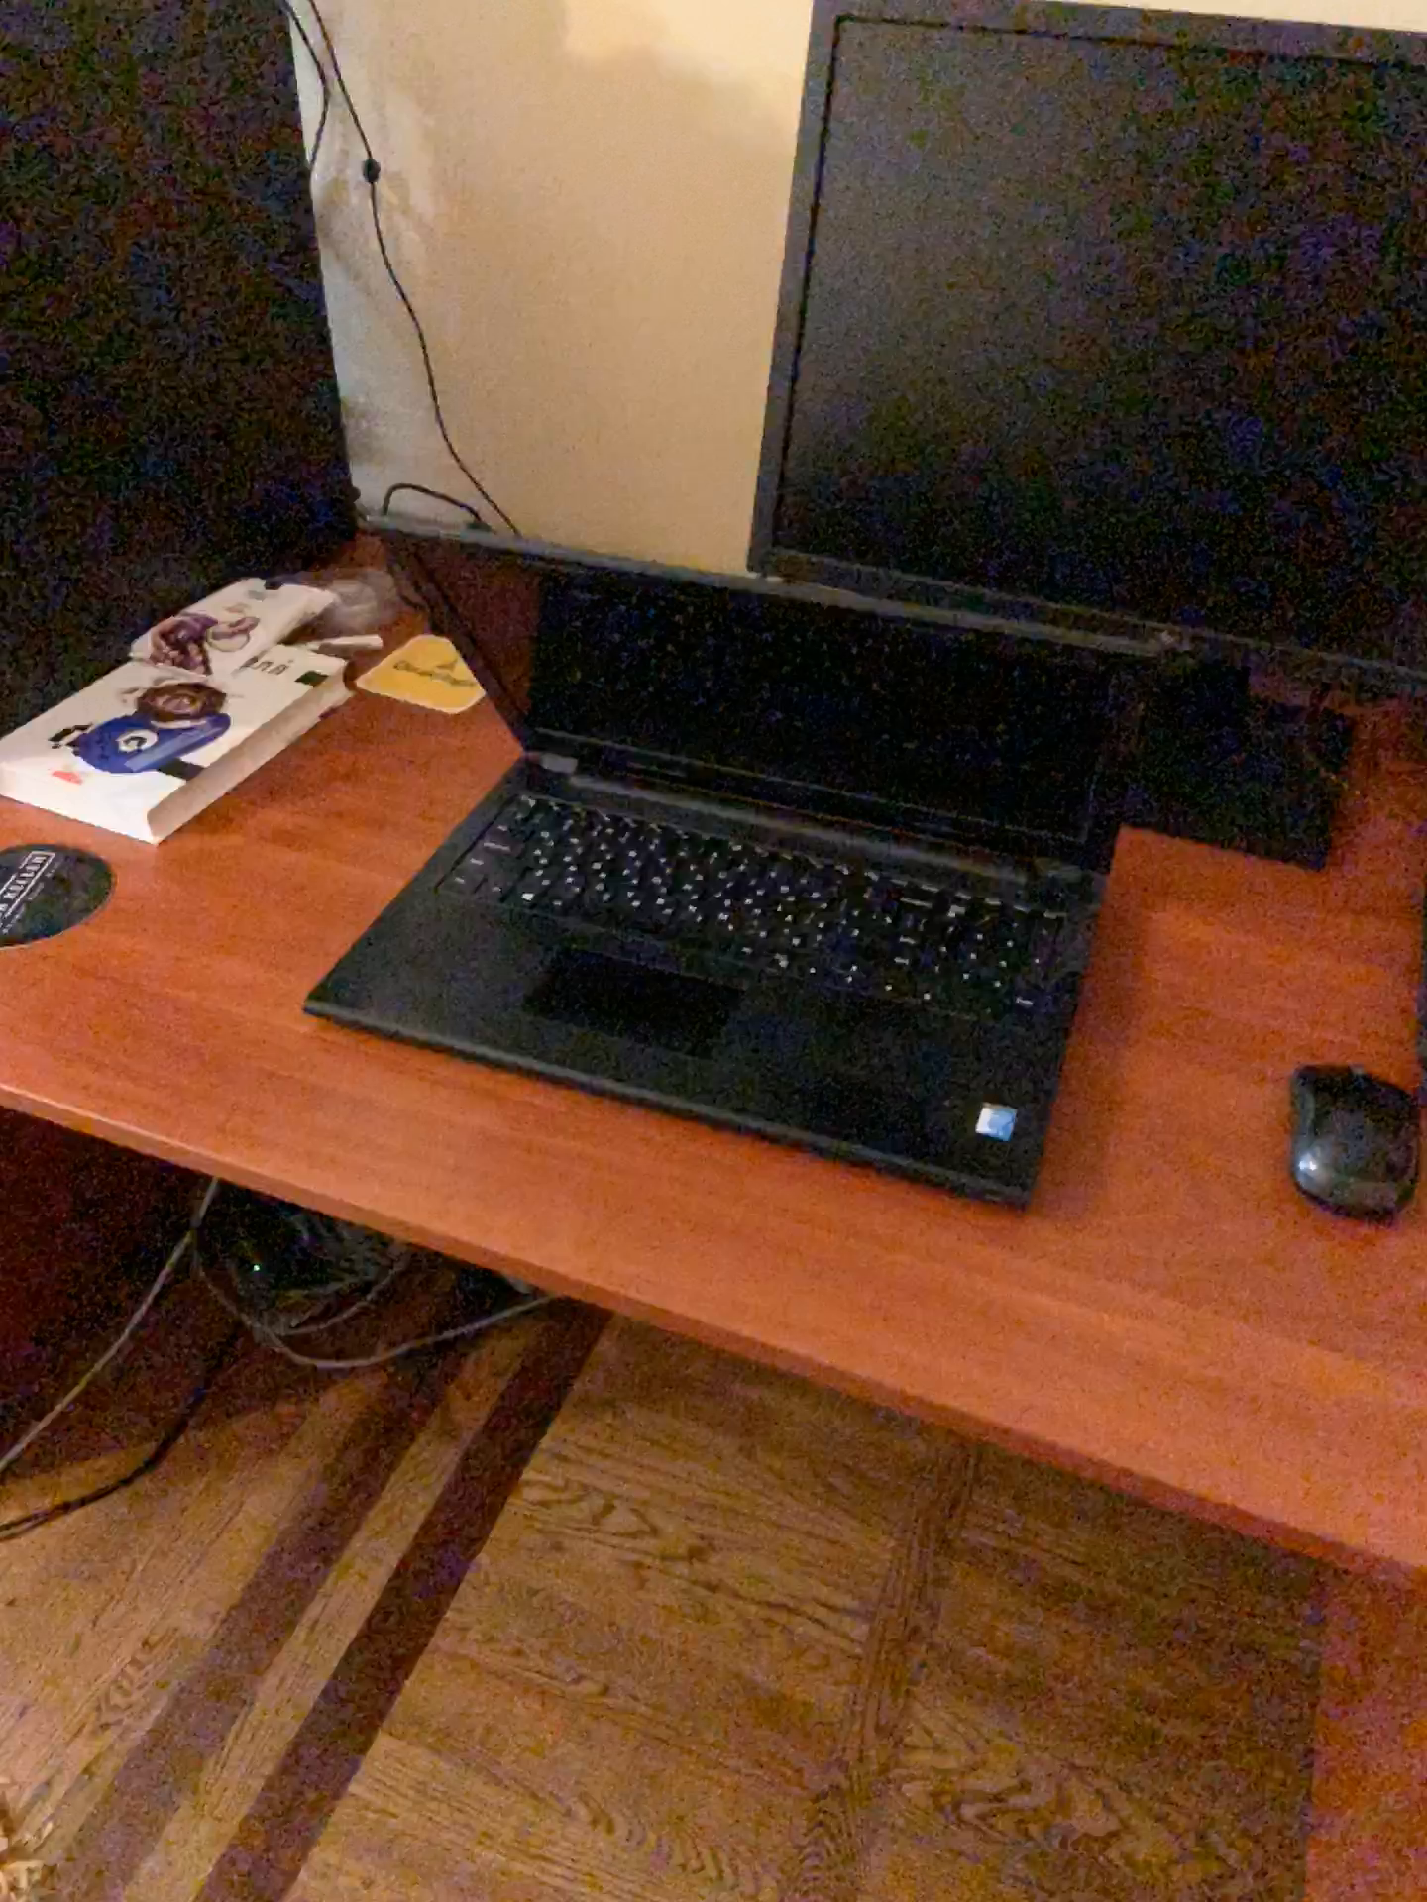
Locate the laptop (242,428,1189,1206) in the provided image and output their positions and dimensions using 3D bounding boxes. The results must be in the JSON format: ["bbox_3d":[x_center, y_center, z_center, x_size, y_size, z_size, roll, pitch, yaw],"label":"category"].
[{"bbox_3d":[0.013,-0.087,0.726,0.372,0.212,0.255,14,41,14],"label":"laptop"}]
